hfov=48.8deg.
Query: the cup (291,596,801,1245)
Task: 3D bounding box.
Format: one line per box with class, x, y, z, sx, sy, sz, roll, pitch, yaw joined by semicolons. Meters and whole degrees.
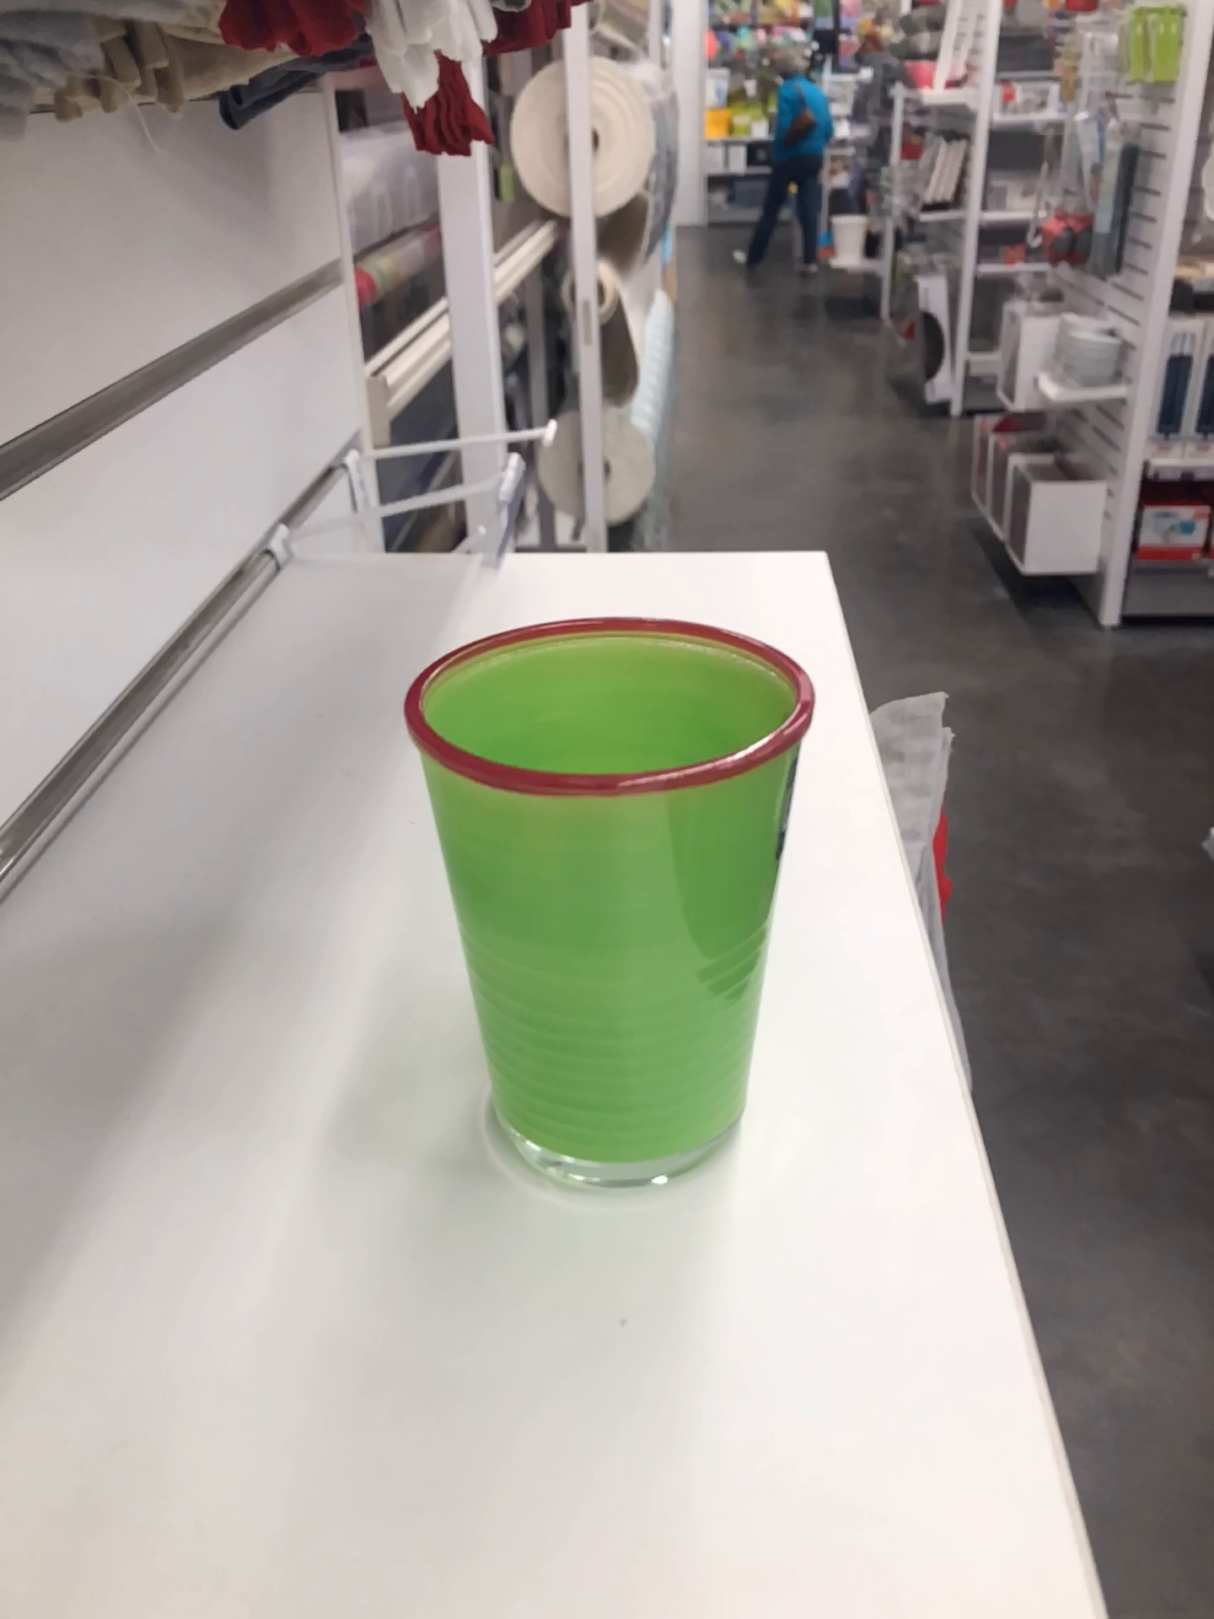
cup;-0.004;0.019;0.280;0.082;0.098;0.087;-1;30;1
